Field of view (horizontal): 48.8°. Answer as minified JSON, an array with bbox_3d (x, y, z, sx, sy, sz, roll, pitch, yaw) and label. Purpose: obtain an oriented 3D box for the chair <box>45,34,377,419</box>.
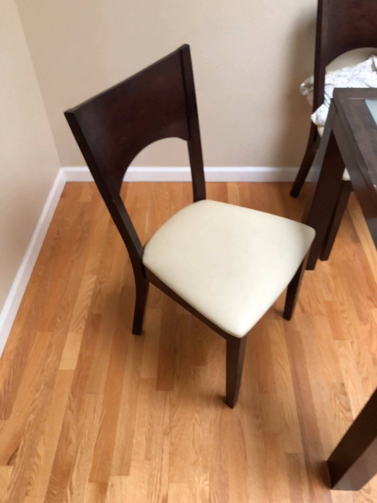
[{"bbox_3d":[0.083,-0.065,1.308,0.571,0.895,0.592,25,51,23],"label":"chair"}]
